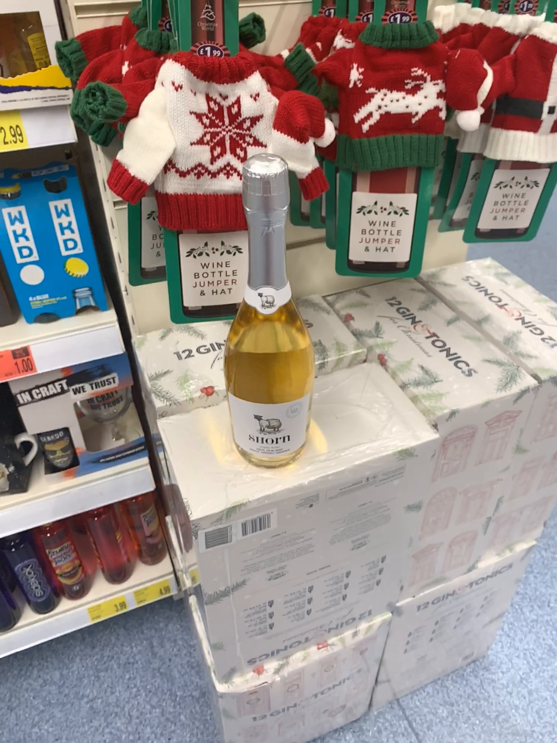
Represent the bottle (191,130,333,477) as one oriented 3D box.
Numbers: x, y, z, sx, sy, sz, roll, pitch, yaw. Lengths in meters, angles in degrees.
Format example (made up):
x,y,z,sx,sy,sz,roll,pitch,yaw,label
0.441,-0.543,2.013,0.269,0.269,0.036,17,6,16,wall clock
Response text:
x,y,z,sx,sy,sz,roll,pitch,yaw,label
-0.010,-0.044,0.512,0.094,0.298,0.095,-1,38,1,bottle
